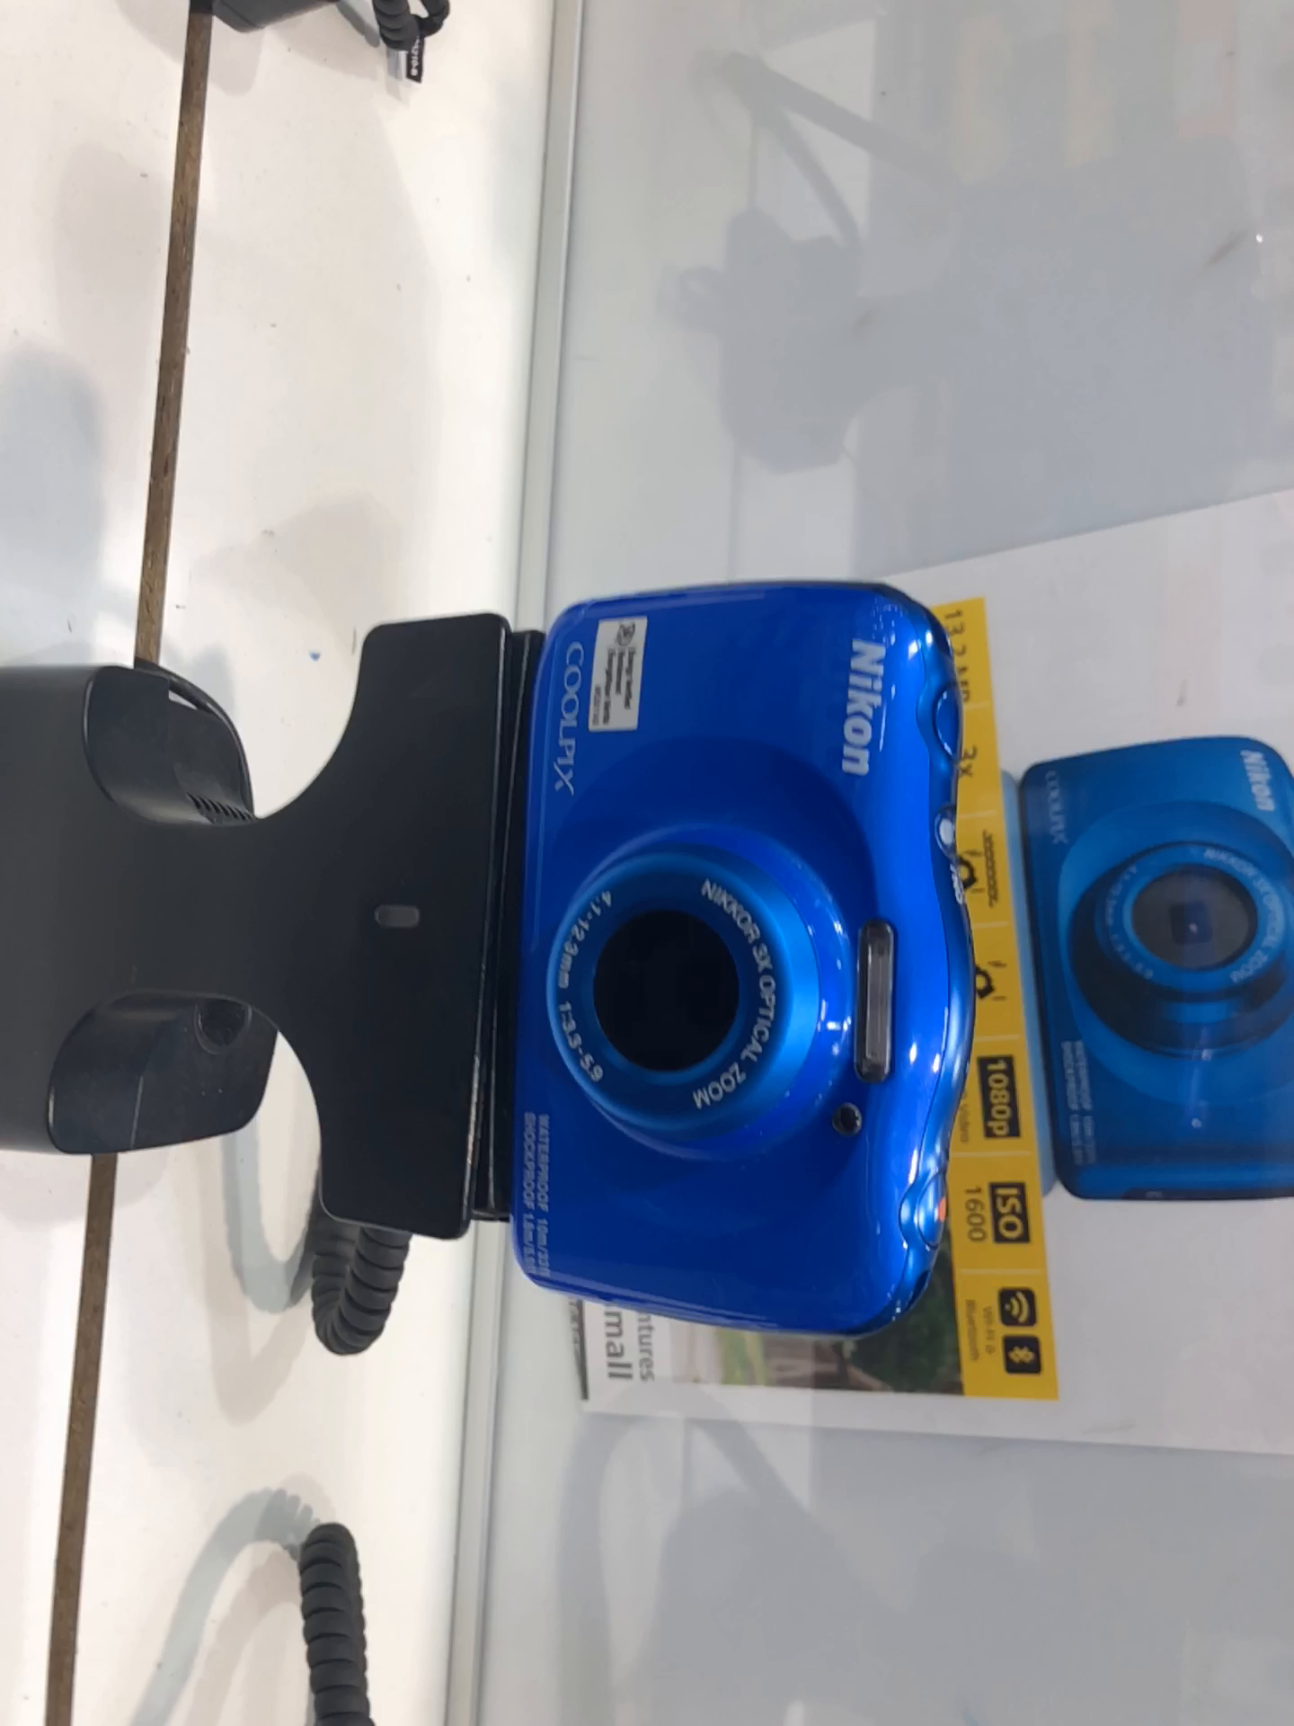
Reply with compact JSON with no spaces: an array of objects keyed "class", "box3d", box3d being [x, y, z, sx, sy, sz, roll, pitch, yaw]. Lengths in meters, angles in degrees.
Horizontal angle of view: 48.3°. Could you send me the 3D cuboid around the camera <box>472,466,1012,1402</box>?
[{"class":"camera","box3d":[0.018,0.010,0.238,0.050,0.070,0.130,11,80,-63]}]
